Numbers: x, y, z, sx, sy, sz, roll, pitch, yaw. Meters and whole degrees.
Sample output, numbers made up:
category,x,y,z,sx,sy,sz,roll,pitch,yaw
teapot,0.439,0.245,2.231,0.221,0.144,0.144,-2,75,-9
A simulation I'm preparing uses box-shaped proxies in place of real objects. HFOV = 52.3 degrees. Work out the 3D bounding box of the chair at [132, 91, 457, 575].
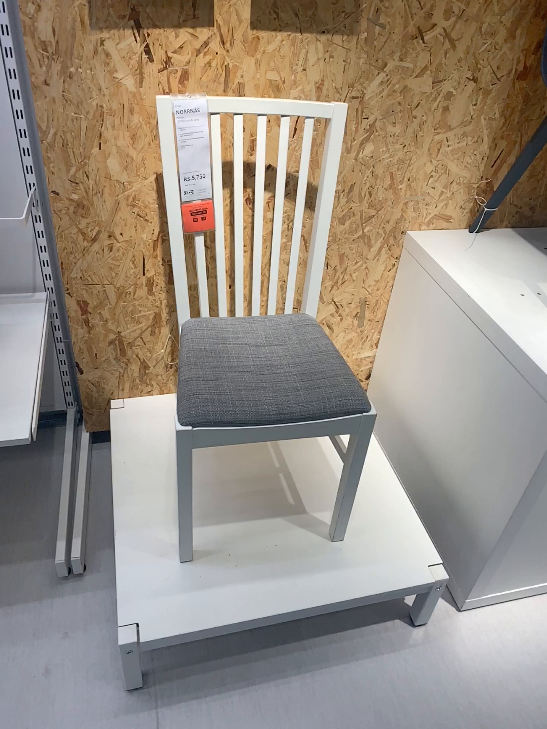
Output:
category,x,y,z,sx,sy,sz,roll,pitch,yaw
chair,-0.050,-0.065,1.288,0.470,0.896,0.592,-3,38,-12
